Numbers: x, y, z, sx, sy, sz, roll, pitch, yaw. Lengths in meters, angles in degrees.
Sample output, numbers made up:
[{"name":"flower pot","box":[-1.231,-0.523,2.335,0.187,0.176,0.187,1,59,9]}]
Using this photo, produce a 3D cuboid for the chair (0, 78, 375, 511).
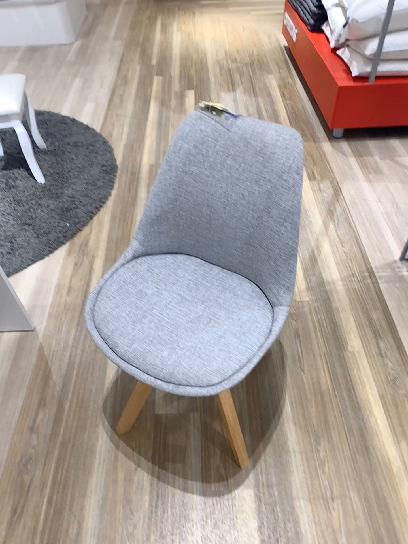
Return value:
[{"name":"chair","box":[-0.015,0.094,1.045,0.514,0.856,0.517,22,52,21]}]
